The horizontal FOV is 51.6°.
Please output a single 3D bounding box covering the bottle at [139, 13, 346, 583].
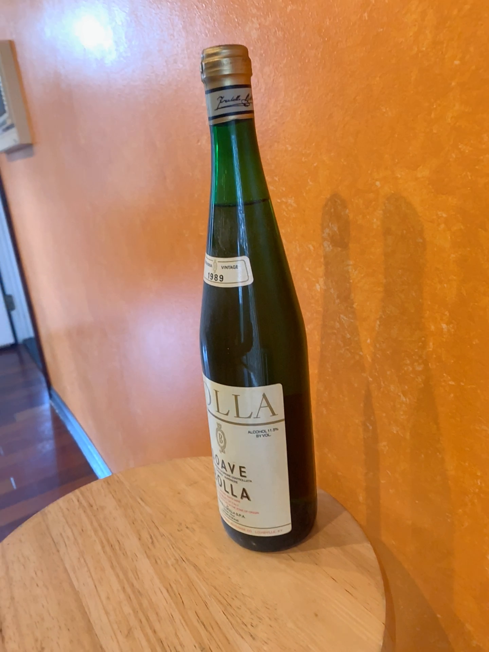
[{"bbox_3d":[0.008,-0.003,0.339,0.070,0.338,0.080,-20,23,-36],"label":"bottle"}]
